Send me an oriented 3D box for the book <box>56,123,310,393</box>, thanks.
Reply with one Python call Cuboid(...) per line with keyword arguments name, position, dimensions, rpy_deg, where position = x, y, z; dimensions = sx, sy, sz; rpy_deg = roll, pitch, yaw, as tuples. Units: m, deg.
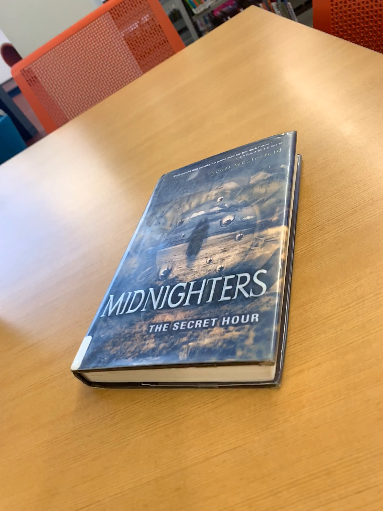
Cuboid(name="book", position=(0.007, -0.006, 0.306), dimensions=(0.150, 0.040, 0.215), rpy_deg=(-11, 42, 30))
